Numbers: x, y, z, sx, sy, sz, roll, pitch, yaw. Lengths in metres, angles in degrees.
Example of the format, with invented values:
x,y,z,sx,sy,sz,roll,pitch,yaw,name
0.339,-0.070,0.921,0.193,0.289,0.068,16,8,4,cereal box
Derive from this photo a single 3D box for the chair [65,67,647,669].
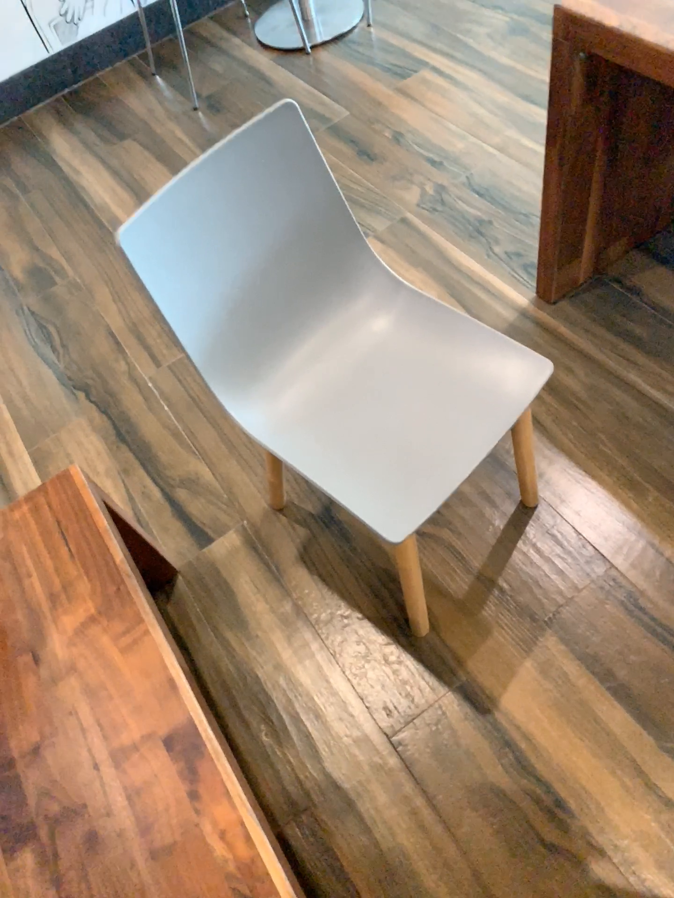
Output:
x,y,z,sx,sy,sz,roll,pitch,yaw,name
0.060,-0.103,1.150,0.501,0.696,0.563,-43,58,-15,chair
